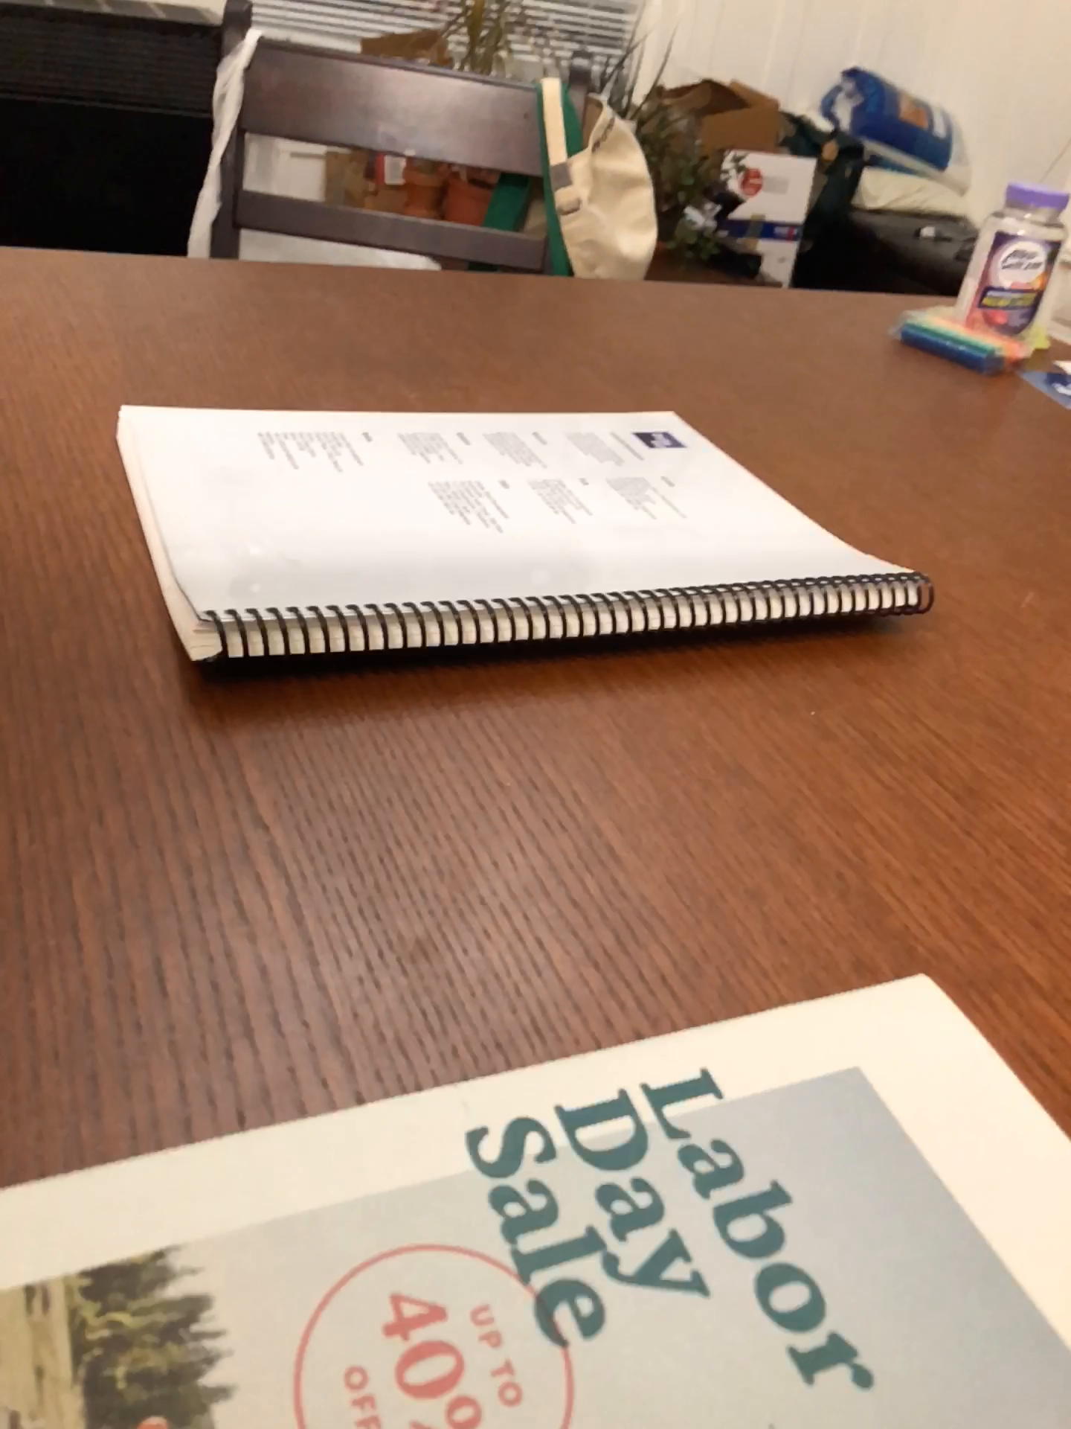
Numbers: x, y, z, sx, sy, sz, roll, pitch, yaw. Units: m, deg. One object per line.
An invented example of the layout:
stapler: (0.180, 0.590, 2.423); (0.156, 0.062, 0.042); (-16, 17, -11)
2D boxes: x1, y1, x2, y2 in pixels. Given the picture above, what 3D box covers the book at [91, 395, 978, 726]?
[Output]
book: (-0.012, -0.082, 0.488); (0.300, 0.020, 0.231); (-6, 35, -23)
